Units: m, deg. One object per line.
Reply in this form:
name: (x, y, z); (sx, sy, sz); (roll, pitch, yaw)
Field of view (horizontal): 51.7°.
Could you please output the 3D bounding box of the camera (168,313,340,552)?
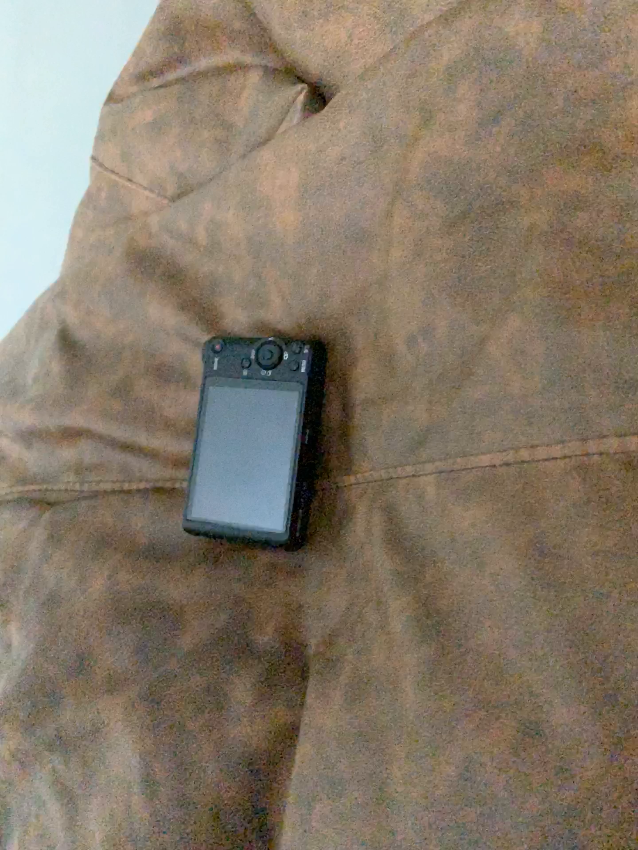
camera: (-0.029, 0.002, 0.297); (0.060, 0.024, 0.100); (5, 83, 30)
